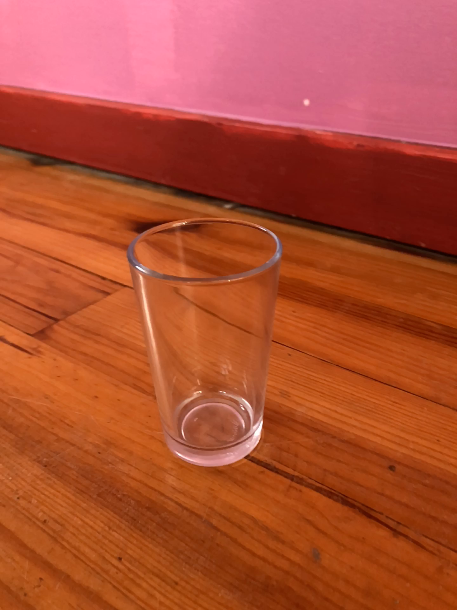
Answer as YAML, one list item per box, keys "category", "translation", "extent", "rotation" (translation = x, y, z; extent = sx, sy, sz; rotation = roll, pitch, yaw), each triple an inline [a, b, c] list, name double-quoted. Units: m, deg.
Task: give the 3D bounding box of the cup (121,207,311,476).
- category: "cup"
  translation: [-0.006, 0.012, 0.187]
  extent: [0.054, 0.079, 0.051]
  rotation: [0, 28, 0]
